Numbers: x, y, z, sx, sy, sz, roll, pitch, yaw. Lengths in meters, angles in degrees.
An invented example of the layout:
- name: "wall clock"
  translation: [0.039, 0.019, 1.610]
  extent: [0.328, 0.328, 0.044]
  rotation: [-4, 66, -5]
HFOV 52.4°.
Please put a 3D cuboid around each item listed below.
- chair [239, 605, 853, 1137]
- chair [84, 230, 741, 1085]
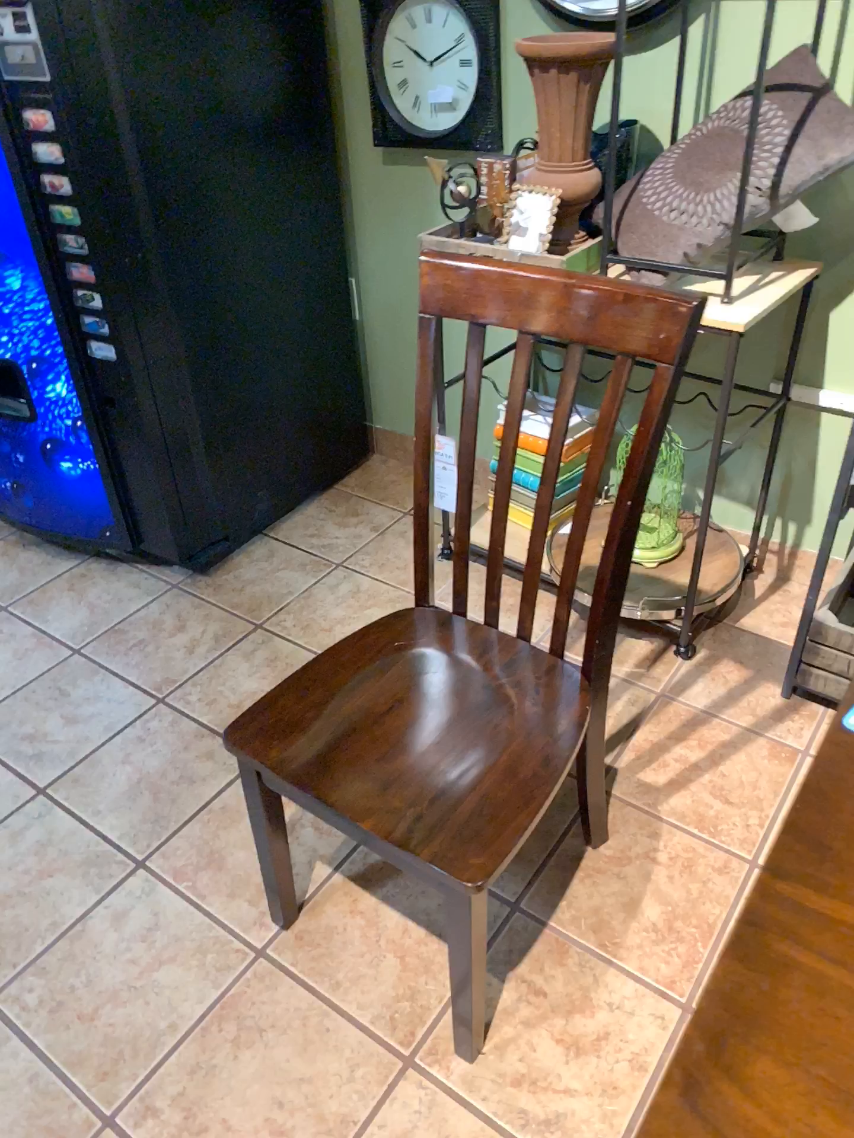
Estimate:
- name: "chair"
  translation: [0.340, 0.616, 0.490]
  extent: [0.462, 0.946, 0.576]
  rotation: [16, 40, 25]
- name: "chair"
  translation: [0.035, 0.109, 1.220]
  extent: [0.462, 0.936, 0.586]
  rotation: [21, 42, 30]
